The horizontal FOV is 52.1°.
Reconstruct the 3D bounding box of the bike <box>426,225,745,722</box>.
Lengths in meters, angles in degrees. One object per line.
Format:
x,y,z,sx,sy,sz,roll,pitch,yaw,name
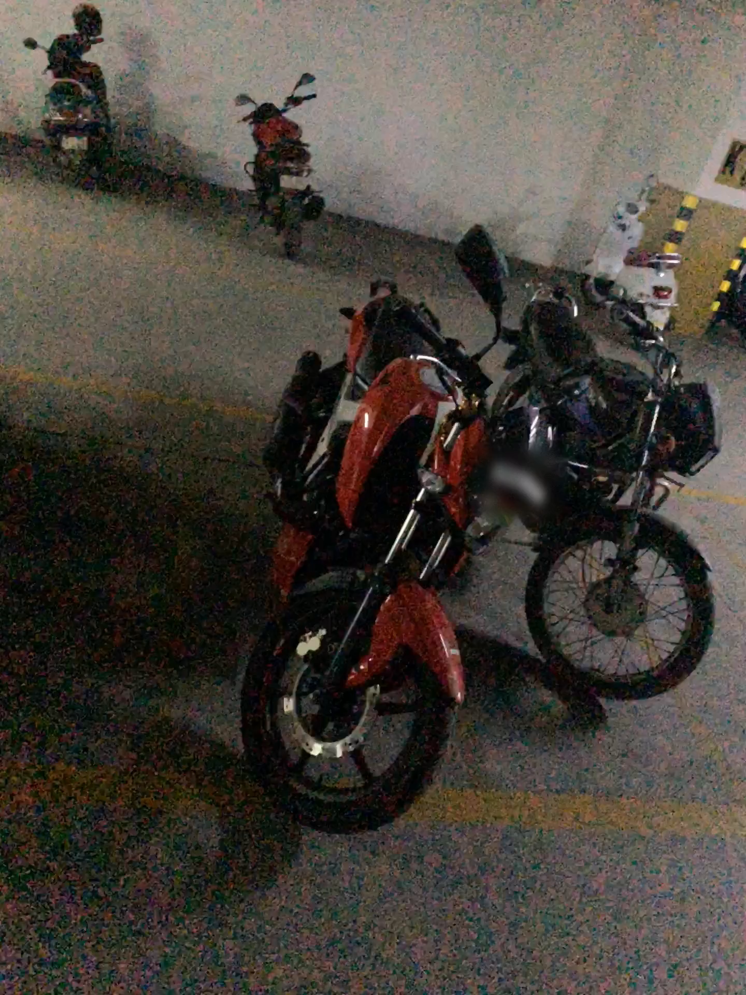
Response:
0.852,-0.185,2.719,0.674,0.934,1.572,7,32,-19,bike

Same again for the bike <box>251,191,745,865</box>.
0.194,-0.045,2.288,0.801,1.007,1.700,7,34,-19,bike
